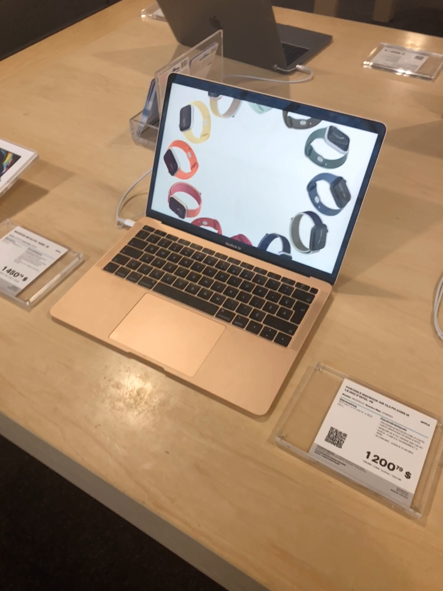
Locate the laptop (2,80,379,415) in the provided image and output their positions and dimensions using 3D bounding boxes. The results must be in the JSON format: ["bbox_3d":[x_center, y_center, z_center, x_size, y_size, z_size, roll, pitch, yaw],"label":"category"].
[{"bbox_3d":[-0.016,-0.081,0.582,0.289,0.167,0.298,22,52,19],"label":"laptop"}]
